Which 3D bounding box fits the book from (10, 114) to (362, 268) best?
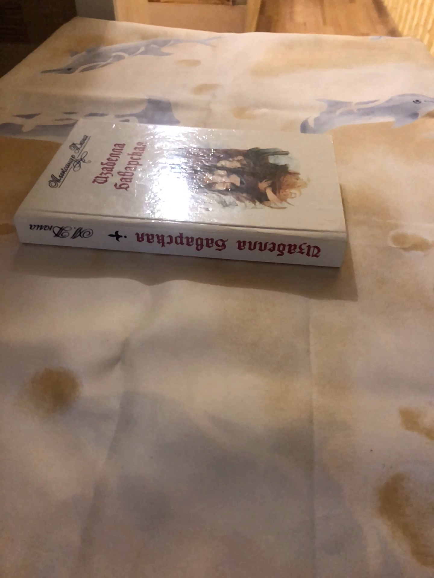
[{"bbox_3d":[-0.015,-0.077,0.343,0.208,0.026,0.140,4,44,3],"label":"book"}]
